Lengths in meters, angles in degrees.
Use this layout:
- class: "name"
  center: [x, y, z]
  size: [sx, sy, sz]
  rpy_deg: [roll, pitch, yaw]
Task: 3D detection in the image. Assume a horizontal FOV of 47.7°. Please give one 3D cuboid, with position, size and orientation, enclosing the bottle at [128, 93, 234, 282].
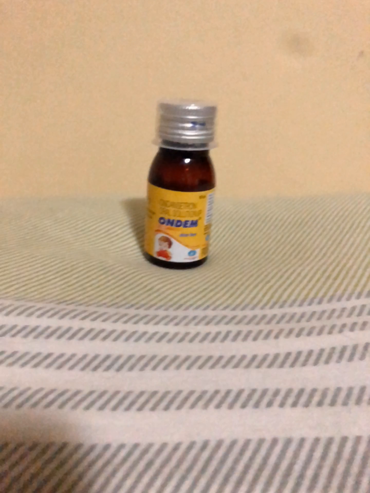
- class: "bottle"
  center: [-0.002, -0.030, 0.205]
  size: [0.040, 0.080, 0.040]
  rpy_deg: [4, 24, -2]
